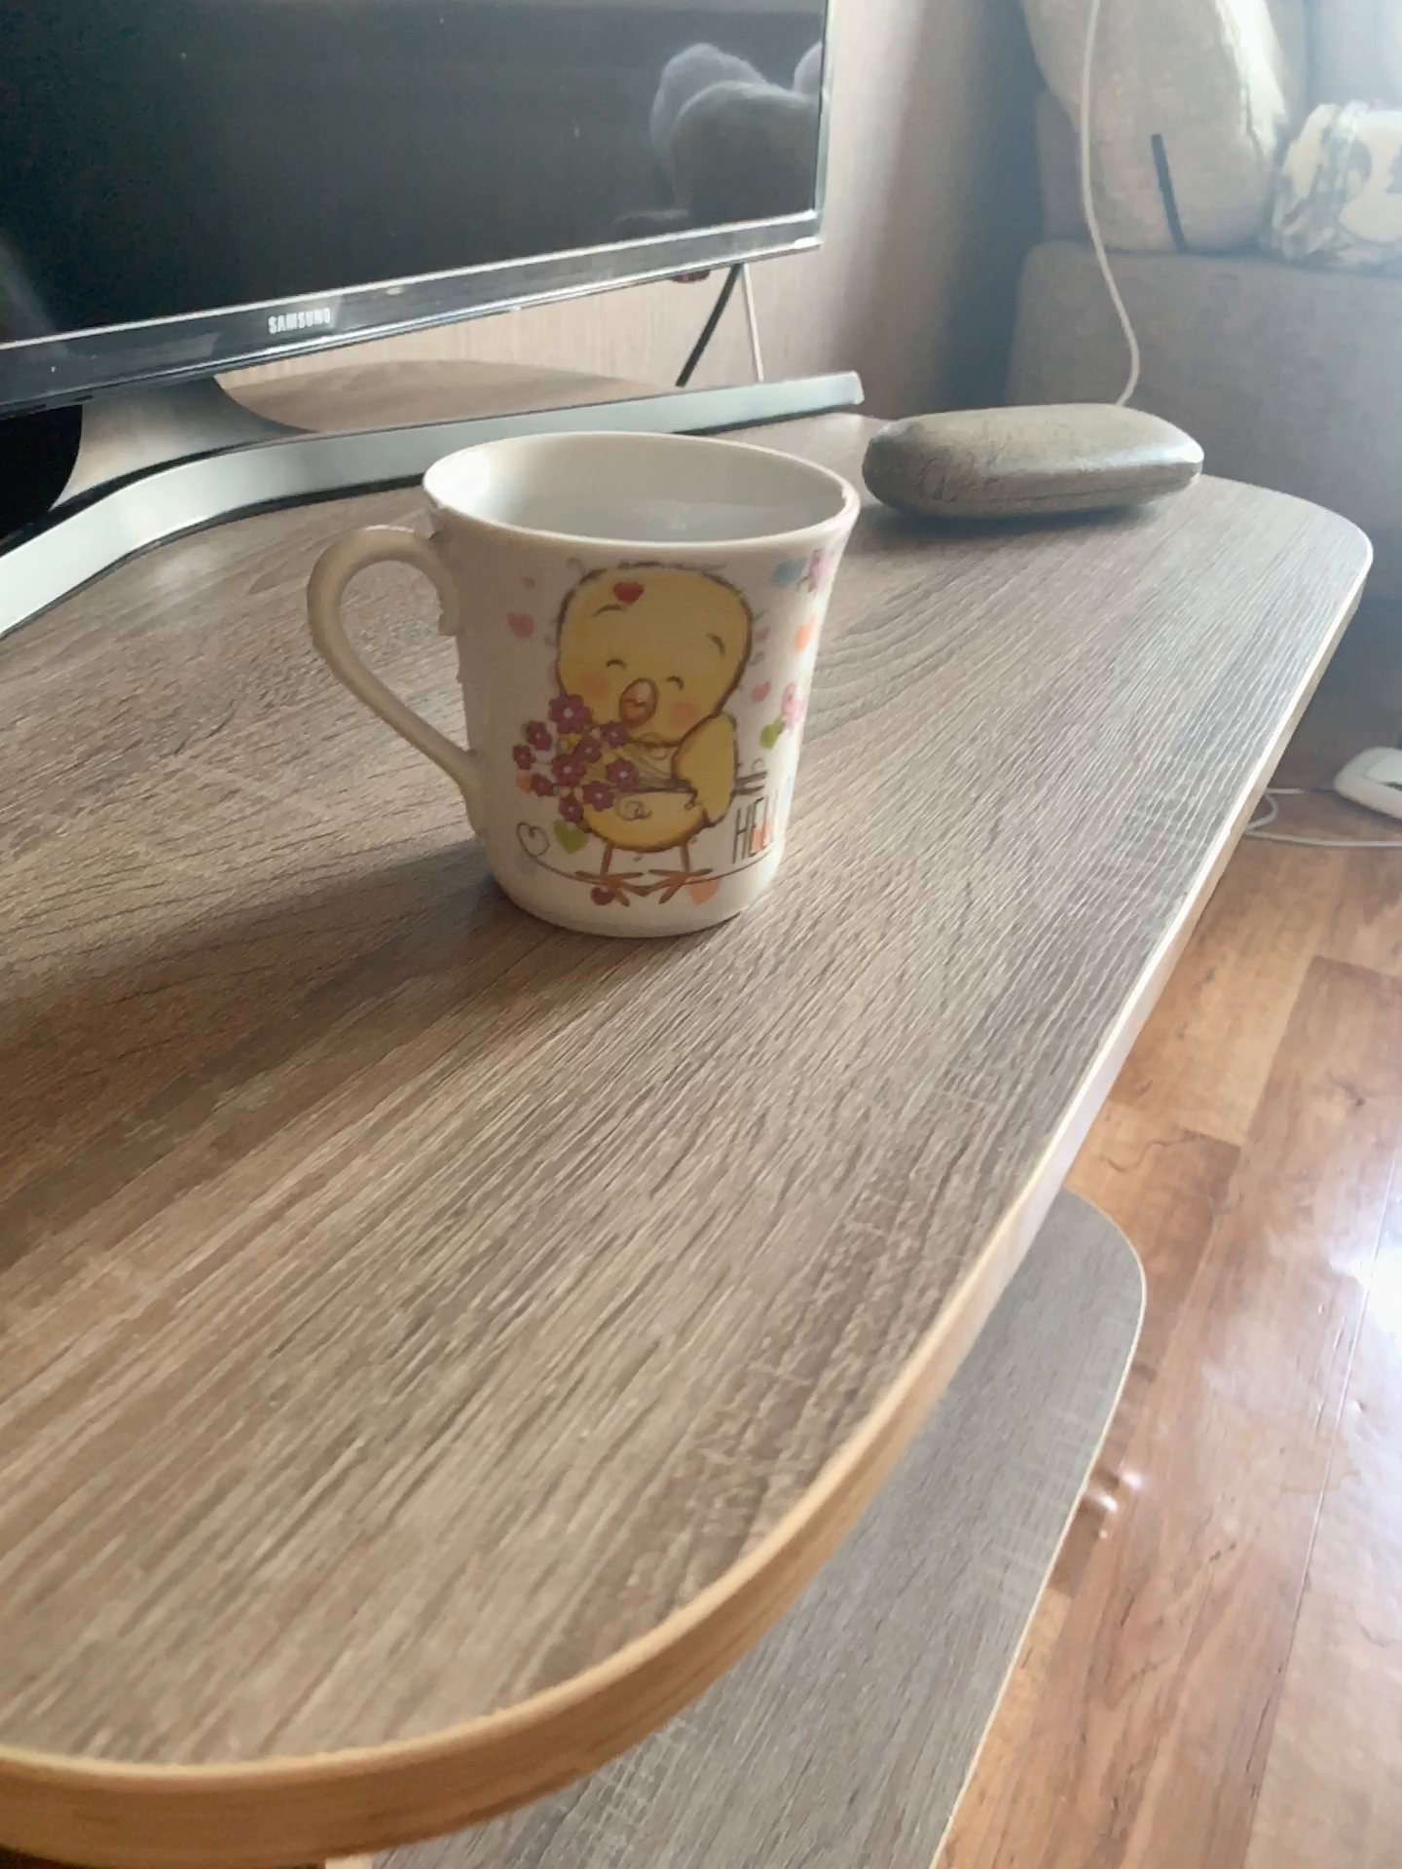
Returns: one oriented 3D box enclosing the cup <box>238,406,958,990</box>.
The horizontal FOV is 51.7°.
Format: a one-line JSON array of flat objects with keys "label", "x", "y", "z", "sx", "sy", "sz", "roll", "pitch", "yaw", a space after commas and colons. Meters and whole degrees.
[{"label": "cup", "x": -0.022, "y": -0.051, "z": 0.275, "sx": 0.110, "sy": 0.080, "sz": 0.070, "roll": -10, "pitch": 32, "yaw": -21}]
